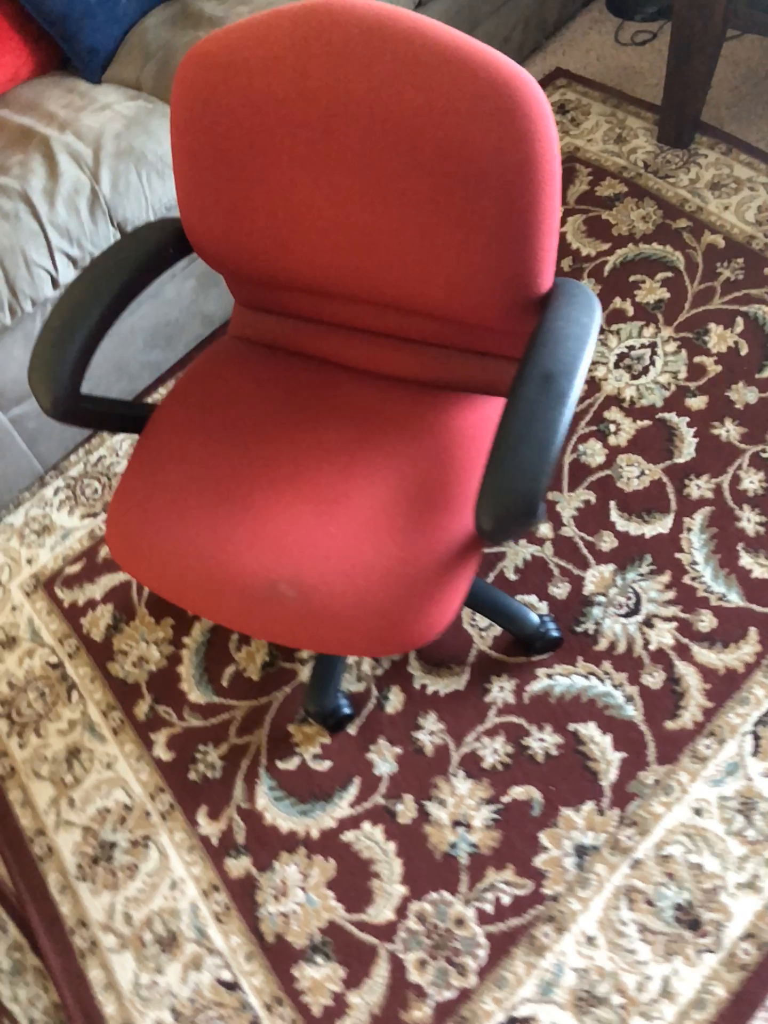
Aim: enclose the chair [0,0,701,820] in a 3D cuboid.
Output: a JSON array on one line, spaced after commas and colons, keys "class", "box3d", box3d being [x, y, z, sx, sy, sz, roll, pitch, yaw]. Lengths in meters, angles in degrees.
[{"class": "chair", "box3d": [-0.060, -0.120, 1.079, 0.651, 0.729, 0.620, 17, 63, 21]}]
